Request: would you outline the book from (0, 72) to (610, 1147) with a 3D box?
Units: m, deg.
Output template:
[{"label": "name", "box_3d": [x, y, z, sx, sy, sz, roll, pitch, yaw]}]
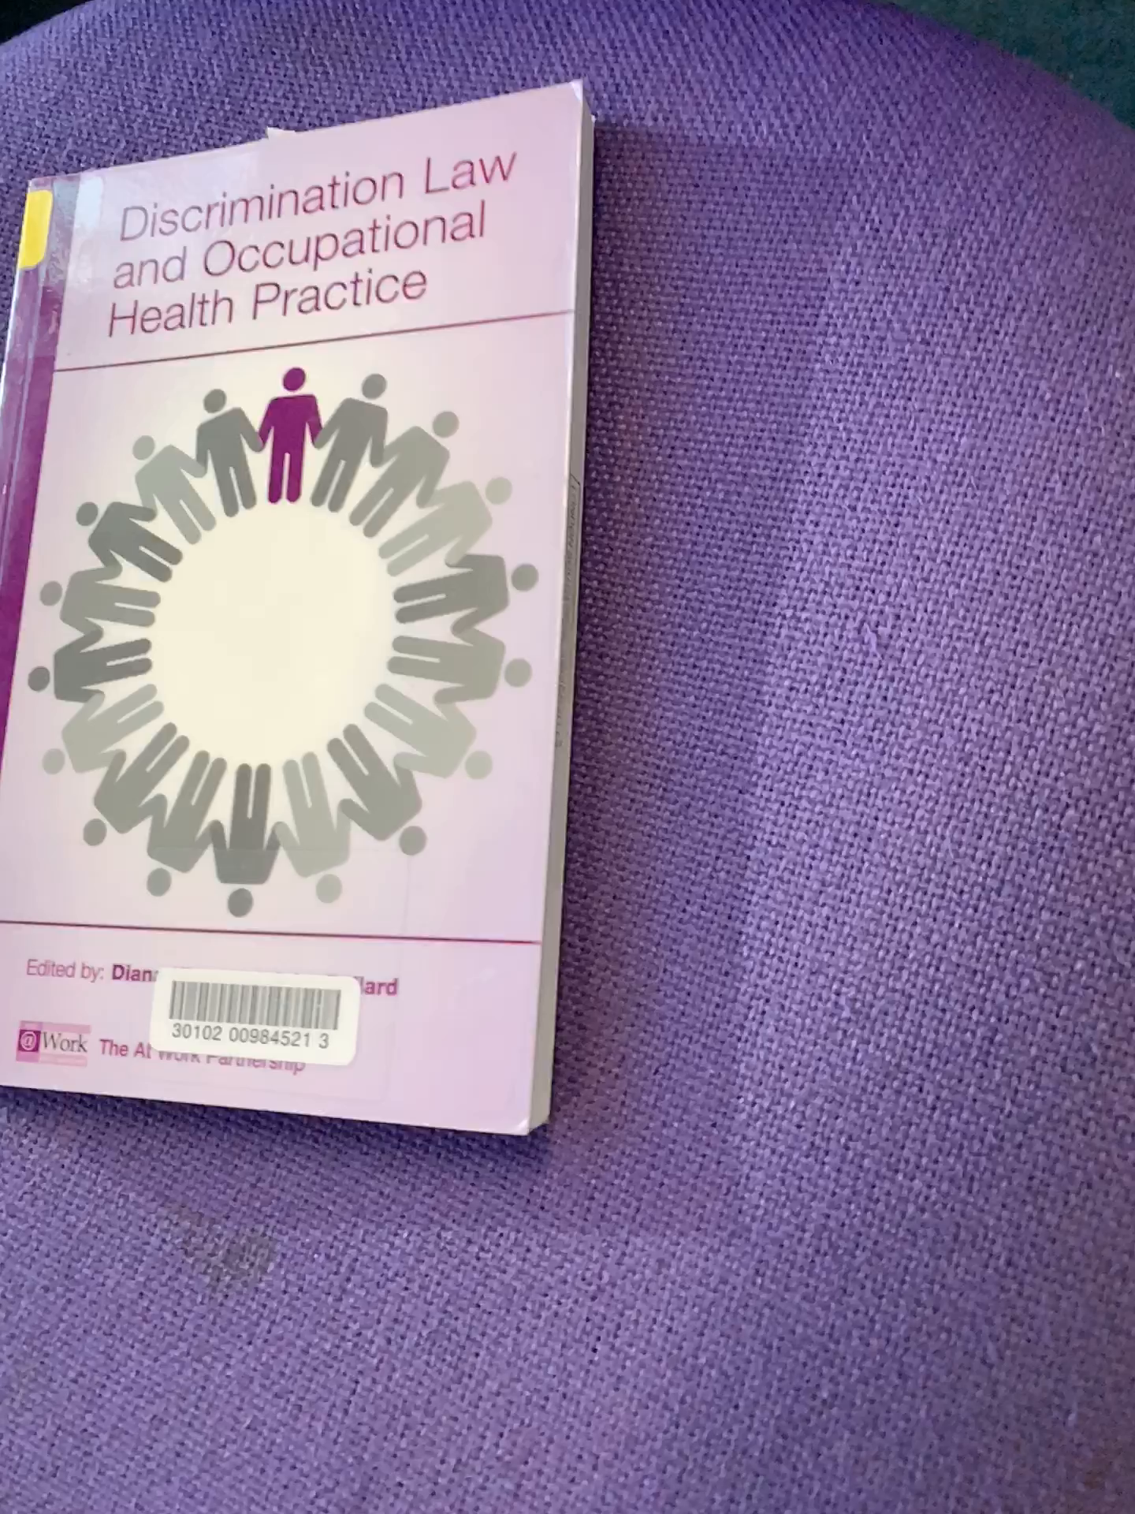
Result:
[{"label": "book", "box_3d": [-0.073, -0.038, 0.278, 0.157, 0.022, 0.235, -1, 78, 17]}]
